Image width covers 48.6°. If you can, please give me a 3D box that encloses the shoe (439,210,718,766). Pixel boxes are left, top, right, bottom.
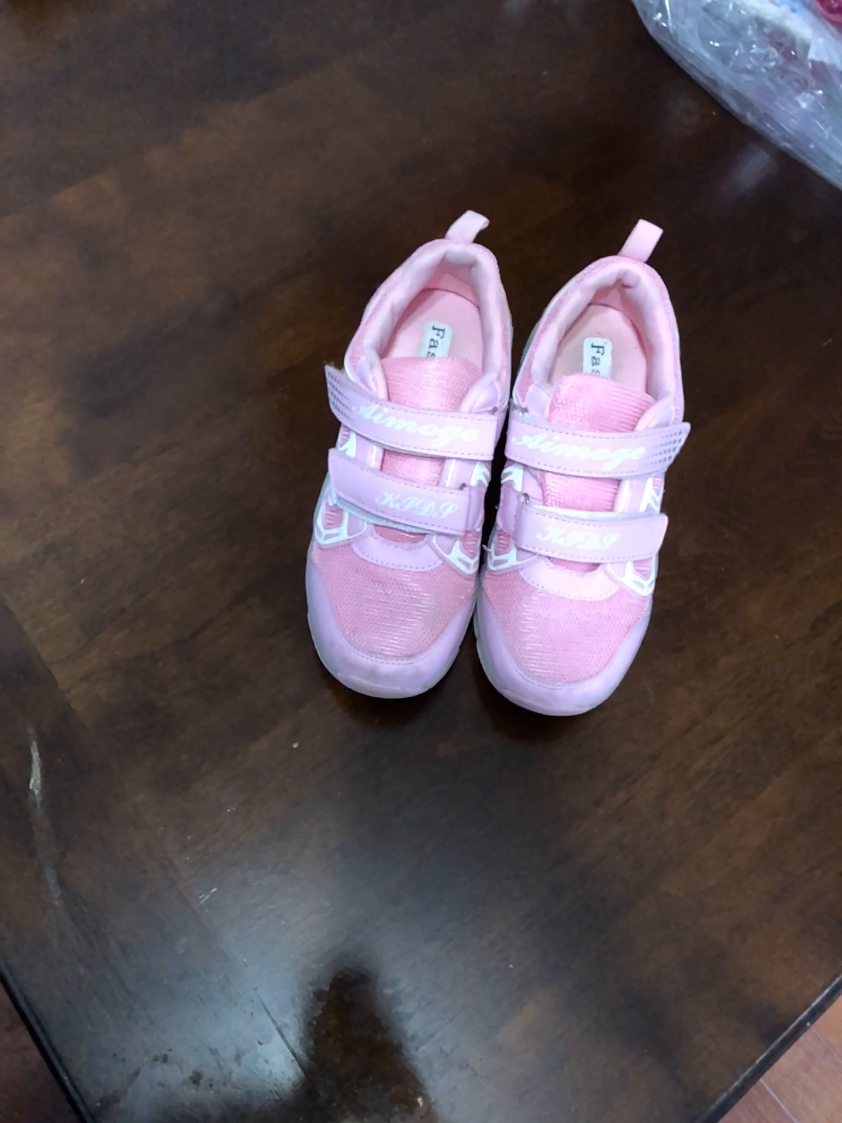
[{"bbox_3d":[0.084,-0.040,0.495,0.110,0.110,0.260,8,66,0],"label":"shoe"}]

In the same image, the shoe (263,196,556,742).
[{"bbox_3d":[0.000,-0.049,0.488,0.100,0.110,0.250,9,66,1],"label":"shoe"}]
